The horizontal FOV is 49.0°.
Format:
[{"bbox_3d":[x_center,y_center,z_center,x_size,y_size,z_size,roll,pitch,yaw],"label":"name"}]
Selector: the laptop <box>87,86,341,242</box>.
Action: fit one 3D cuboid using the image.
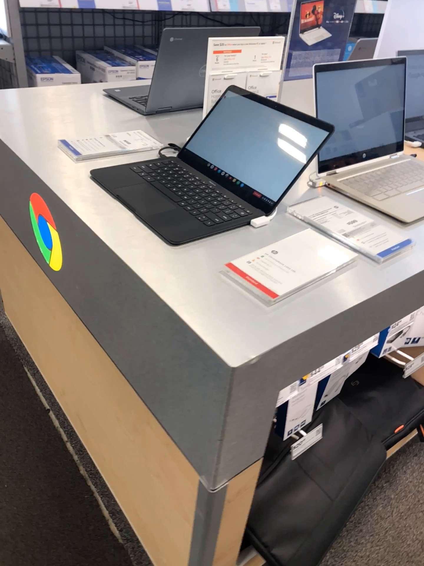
[{"bbox_3d":[-0.004,-0.242,0.858,0.335,0.134,0.294,-20,44,-31],"label":"laptop"}]
